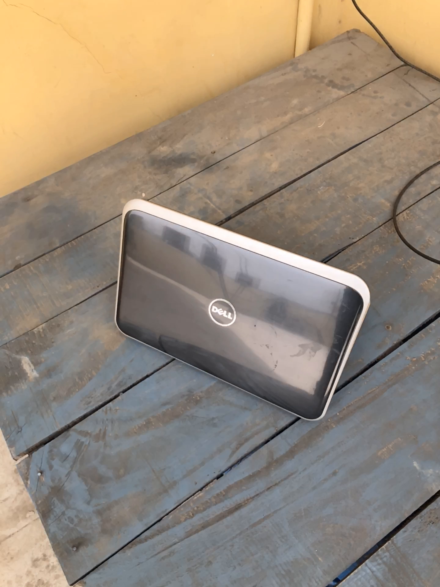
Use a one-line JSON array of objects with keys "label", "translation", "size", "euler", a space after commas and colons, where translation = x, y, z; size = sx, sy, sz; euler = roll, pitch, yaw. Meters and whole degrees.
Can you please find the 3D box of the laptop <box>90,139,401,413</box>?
[{"label": "laptop", "translation": [0.037, -0.030, 0.724], "size": [0.347, 0.206, 0.216], "euler": [23, 63, 18]}]
